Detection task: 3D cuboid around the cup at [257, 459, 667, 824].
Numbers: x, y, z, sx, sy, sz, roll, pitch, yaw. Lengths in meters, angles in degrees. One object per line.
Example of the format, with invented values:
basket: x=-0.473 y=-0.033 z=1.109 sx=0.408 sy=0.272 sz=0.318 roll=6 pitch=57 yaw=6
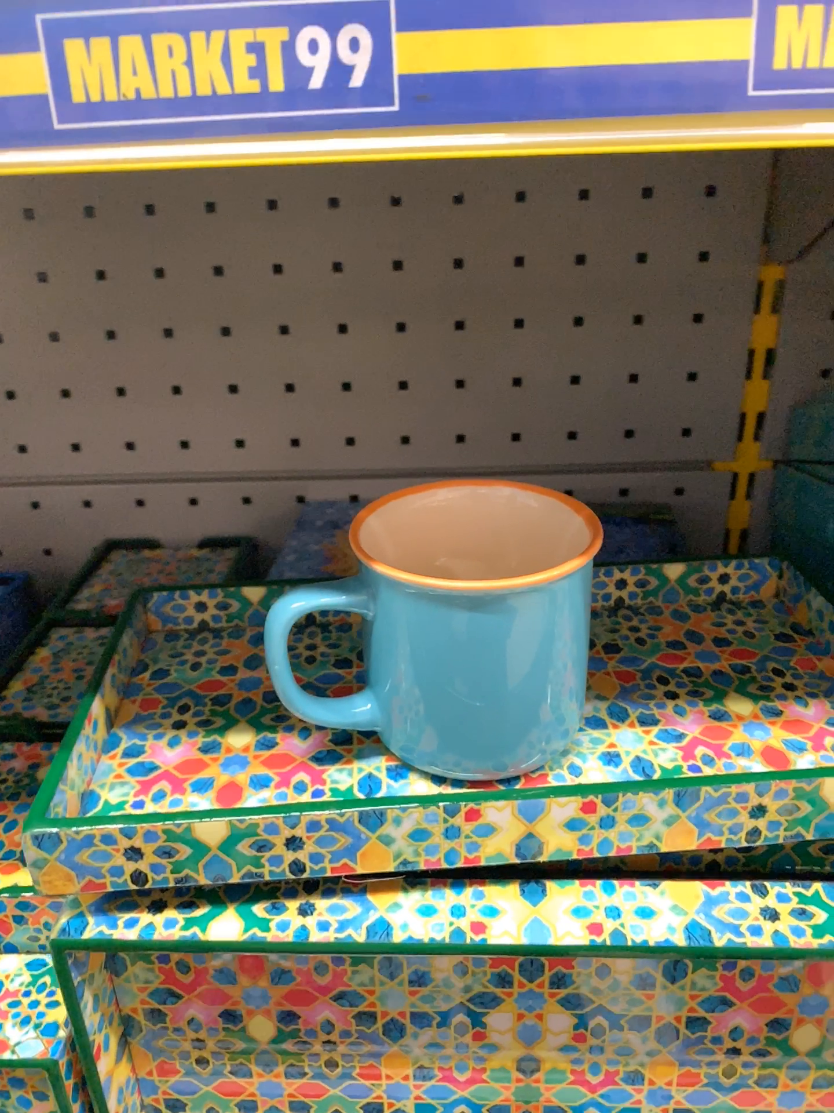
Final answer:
cup: x=0.009 y=0.023 z=0.309 sx=0.120 sy=0.080 sz=0.090 roll=-7 pitch=26 yaw=-9
